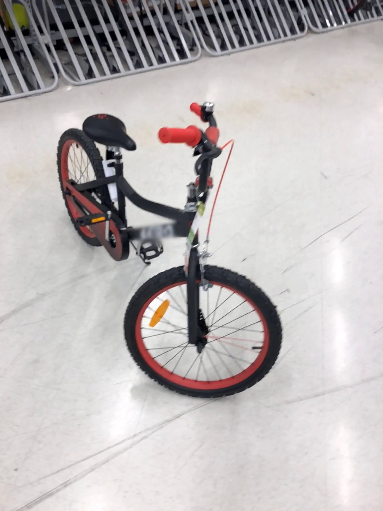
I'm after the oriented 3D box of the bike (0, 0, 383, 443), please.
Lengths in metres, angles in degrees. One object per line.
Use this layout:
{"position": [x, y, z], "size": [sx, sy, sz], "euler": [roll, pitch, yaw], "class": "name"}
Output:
{"position": [-0.124, -0.222, 1.404], "size": [0.626, 0.924, 1.250], "euler": [-32, 57, -30], "class": "bike"}
